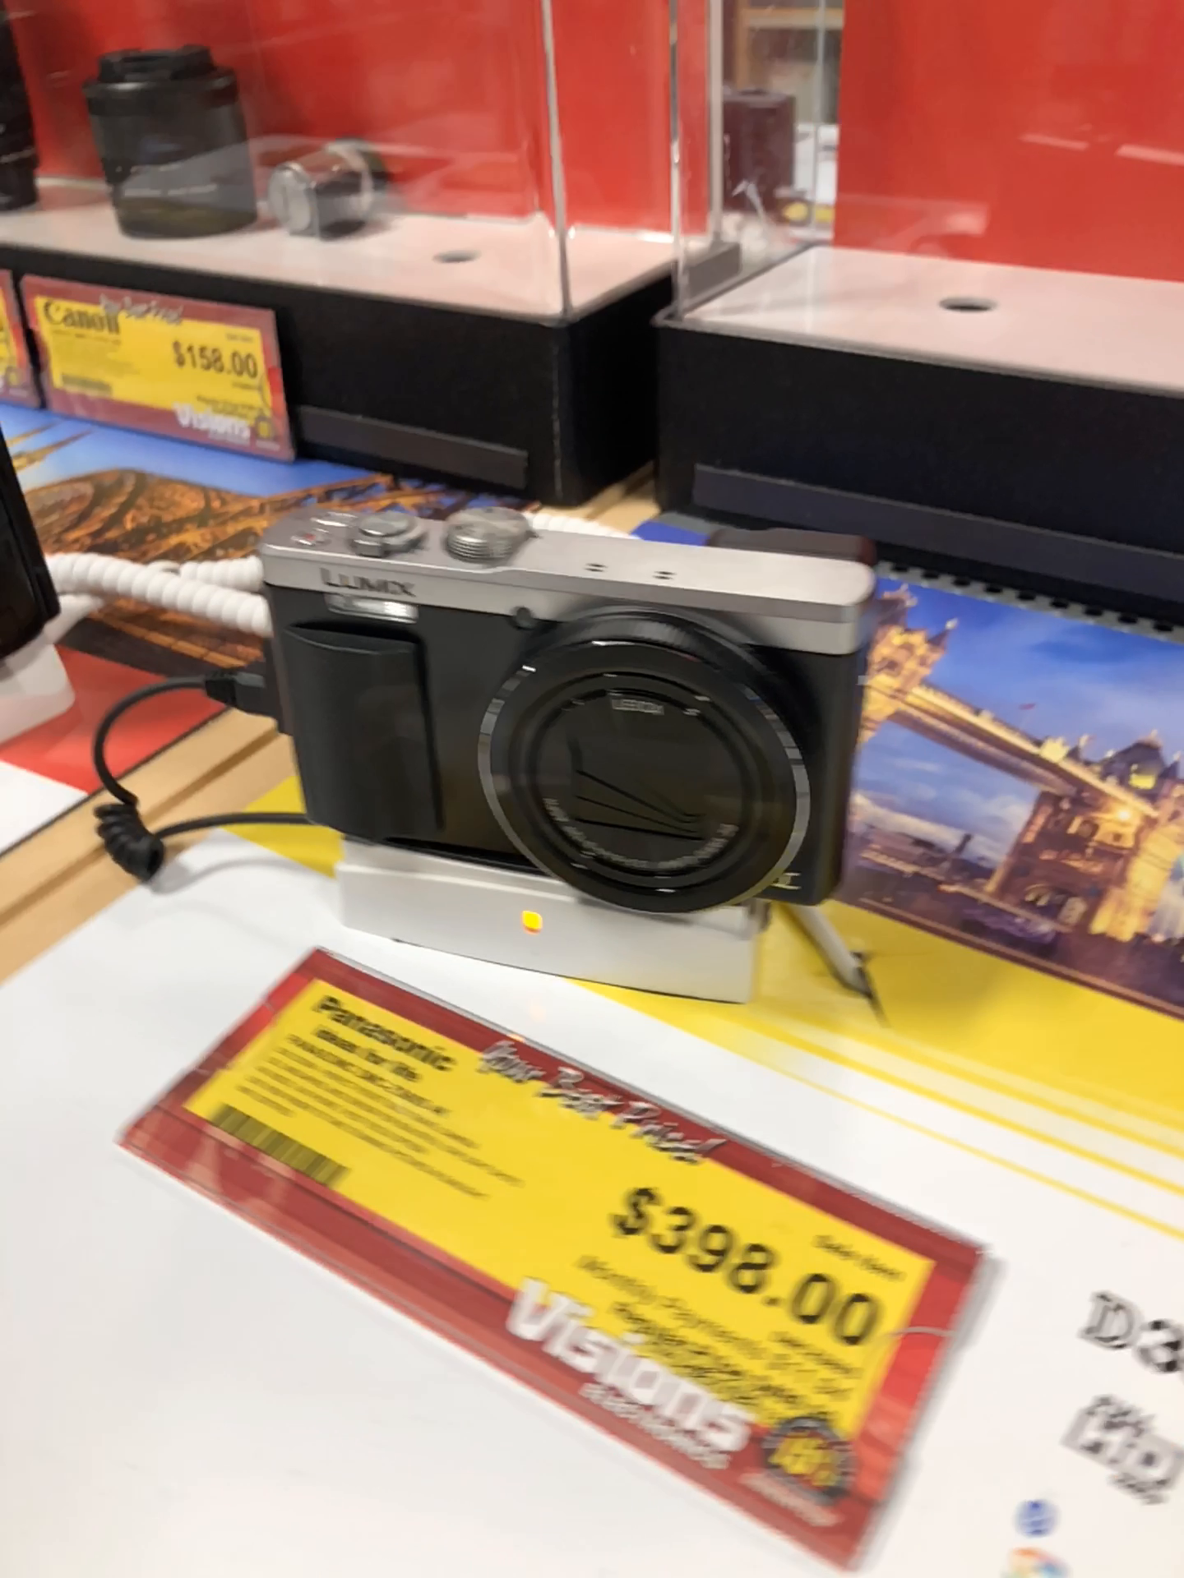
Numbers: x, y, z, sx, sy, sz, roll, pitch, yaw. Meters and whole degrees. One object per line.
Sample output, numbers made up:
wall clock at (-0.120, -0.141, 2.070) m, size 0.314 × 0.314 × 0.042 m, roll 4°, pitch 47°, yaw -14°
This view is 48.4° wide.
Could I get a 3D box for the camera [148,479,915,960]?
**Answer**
camera at (-0.009, -0.015, 0.234) m, size 0.120 × 0.060 × 0.040 m, roll 8°, pitch 36°, yaw 15°
